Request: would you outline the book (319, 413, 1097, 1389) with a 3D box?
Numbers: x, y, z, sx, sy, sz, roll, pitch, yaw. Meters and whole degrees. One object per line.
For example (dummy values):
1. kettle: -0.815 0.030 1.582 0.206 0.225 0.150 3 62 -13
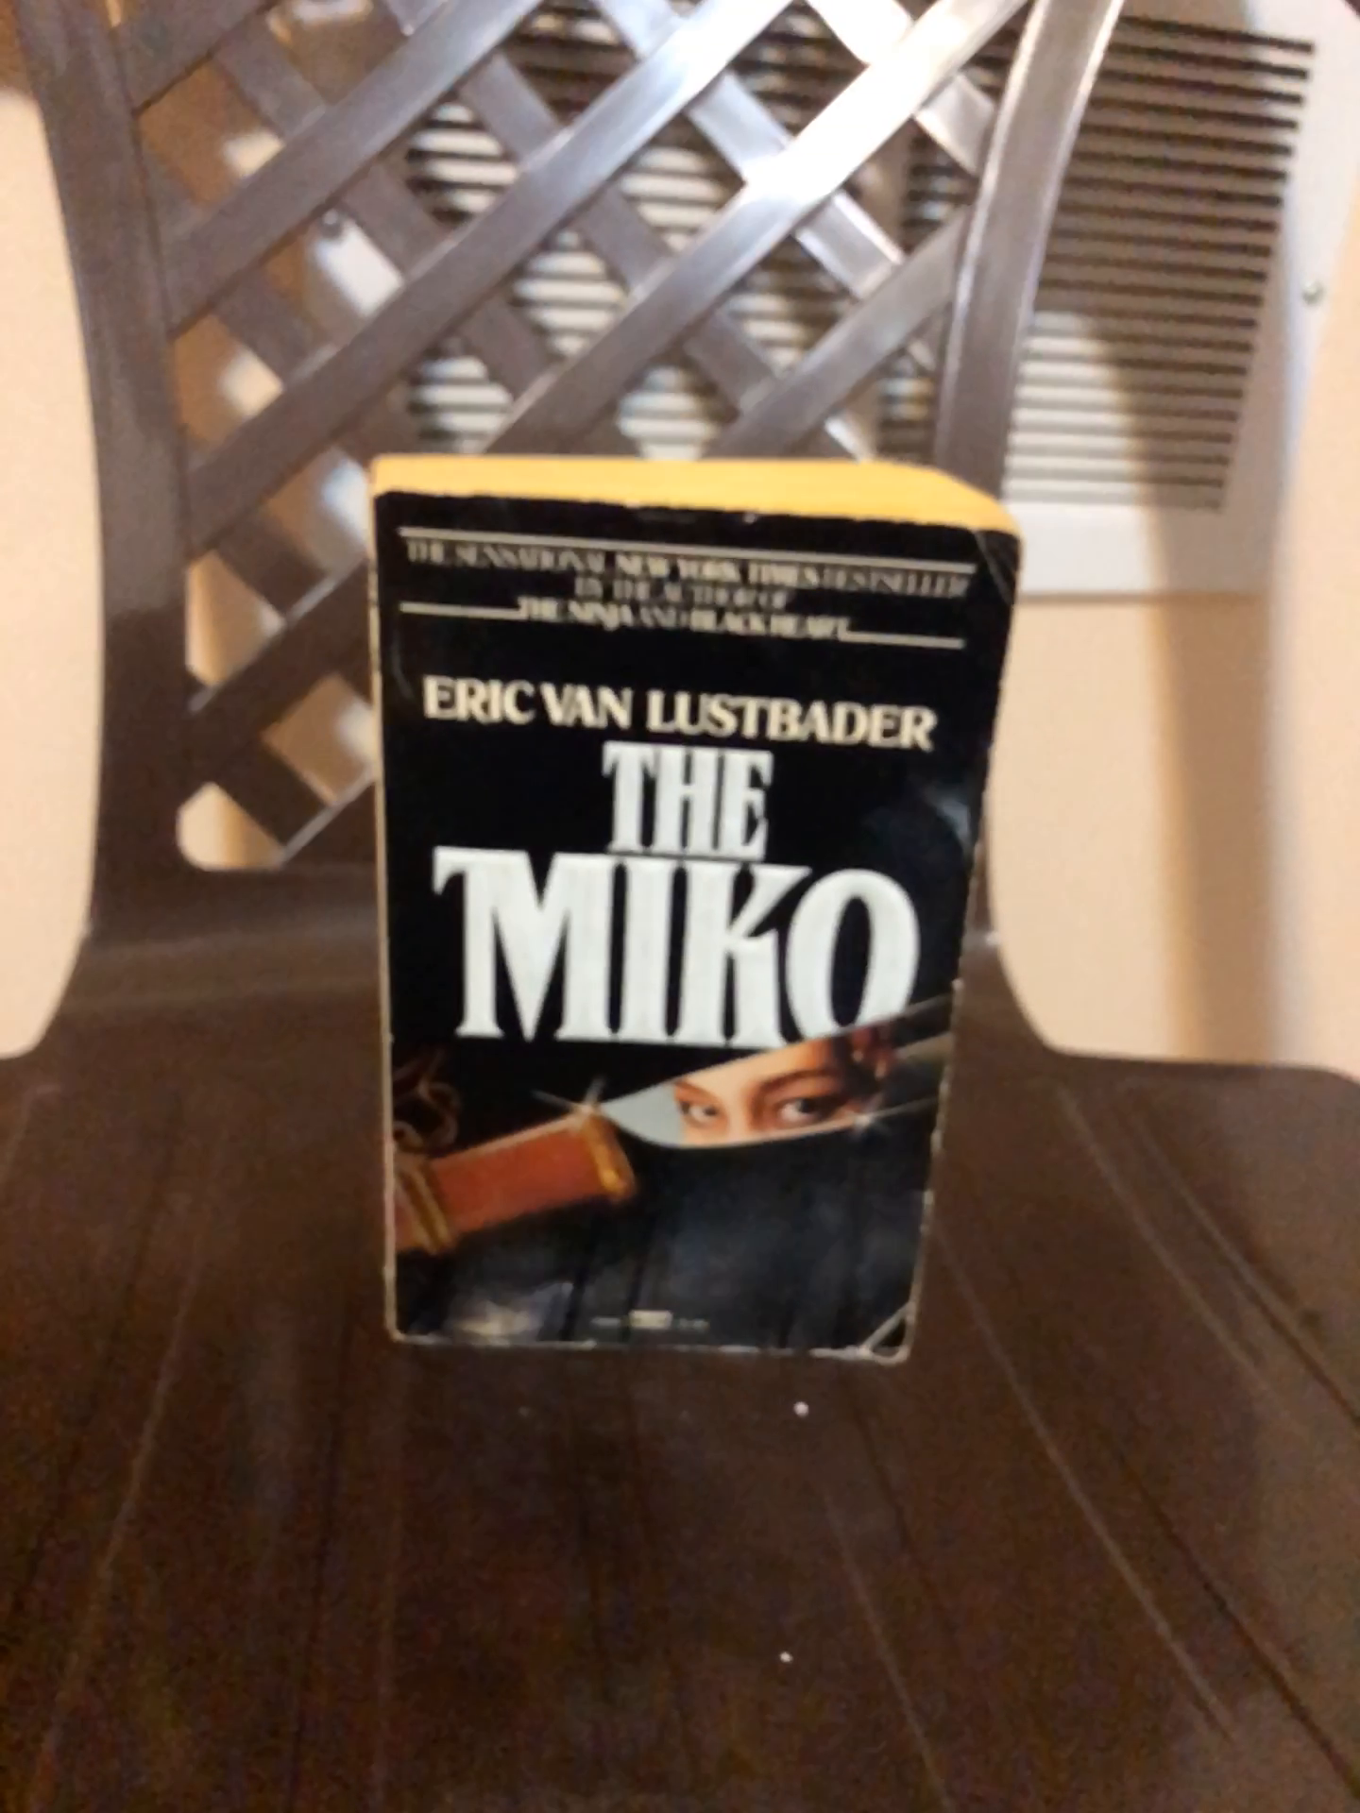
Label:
1. book: -0.002 0.003 0.283 0.120 0.169 0.040 3 19 -4
